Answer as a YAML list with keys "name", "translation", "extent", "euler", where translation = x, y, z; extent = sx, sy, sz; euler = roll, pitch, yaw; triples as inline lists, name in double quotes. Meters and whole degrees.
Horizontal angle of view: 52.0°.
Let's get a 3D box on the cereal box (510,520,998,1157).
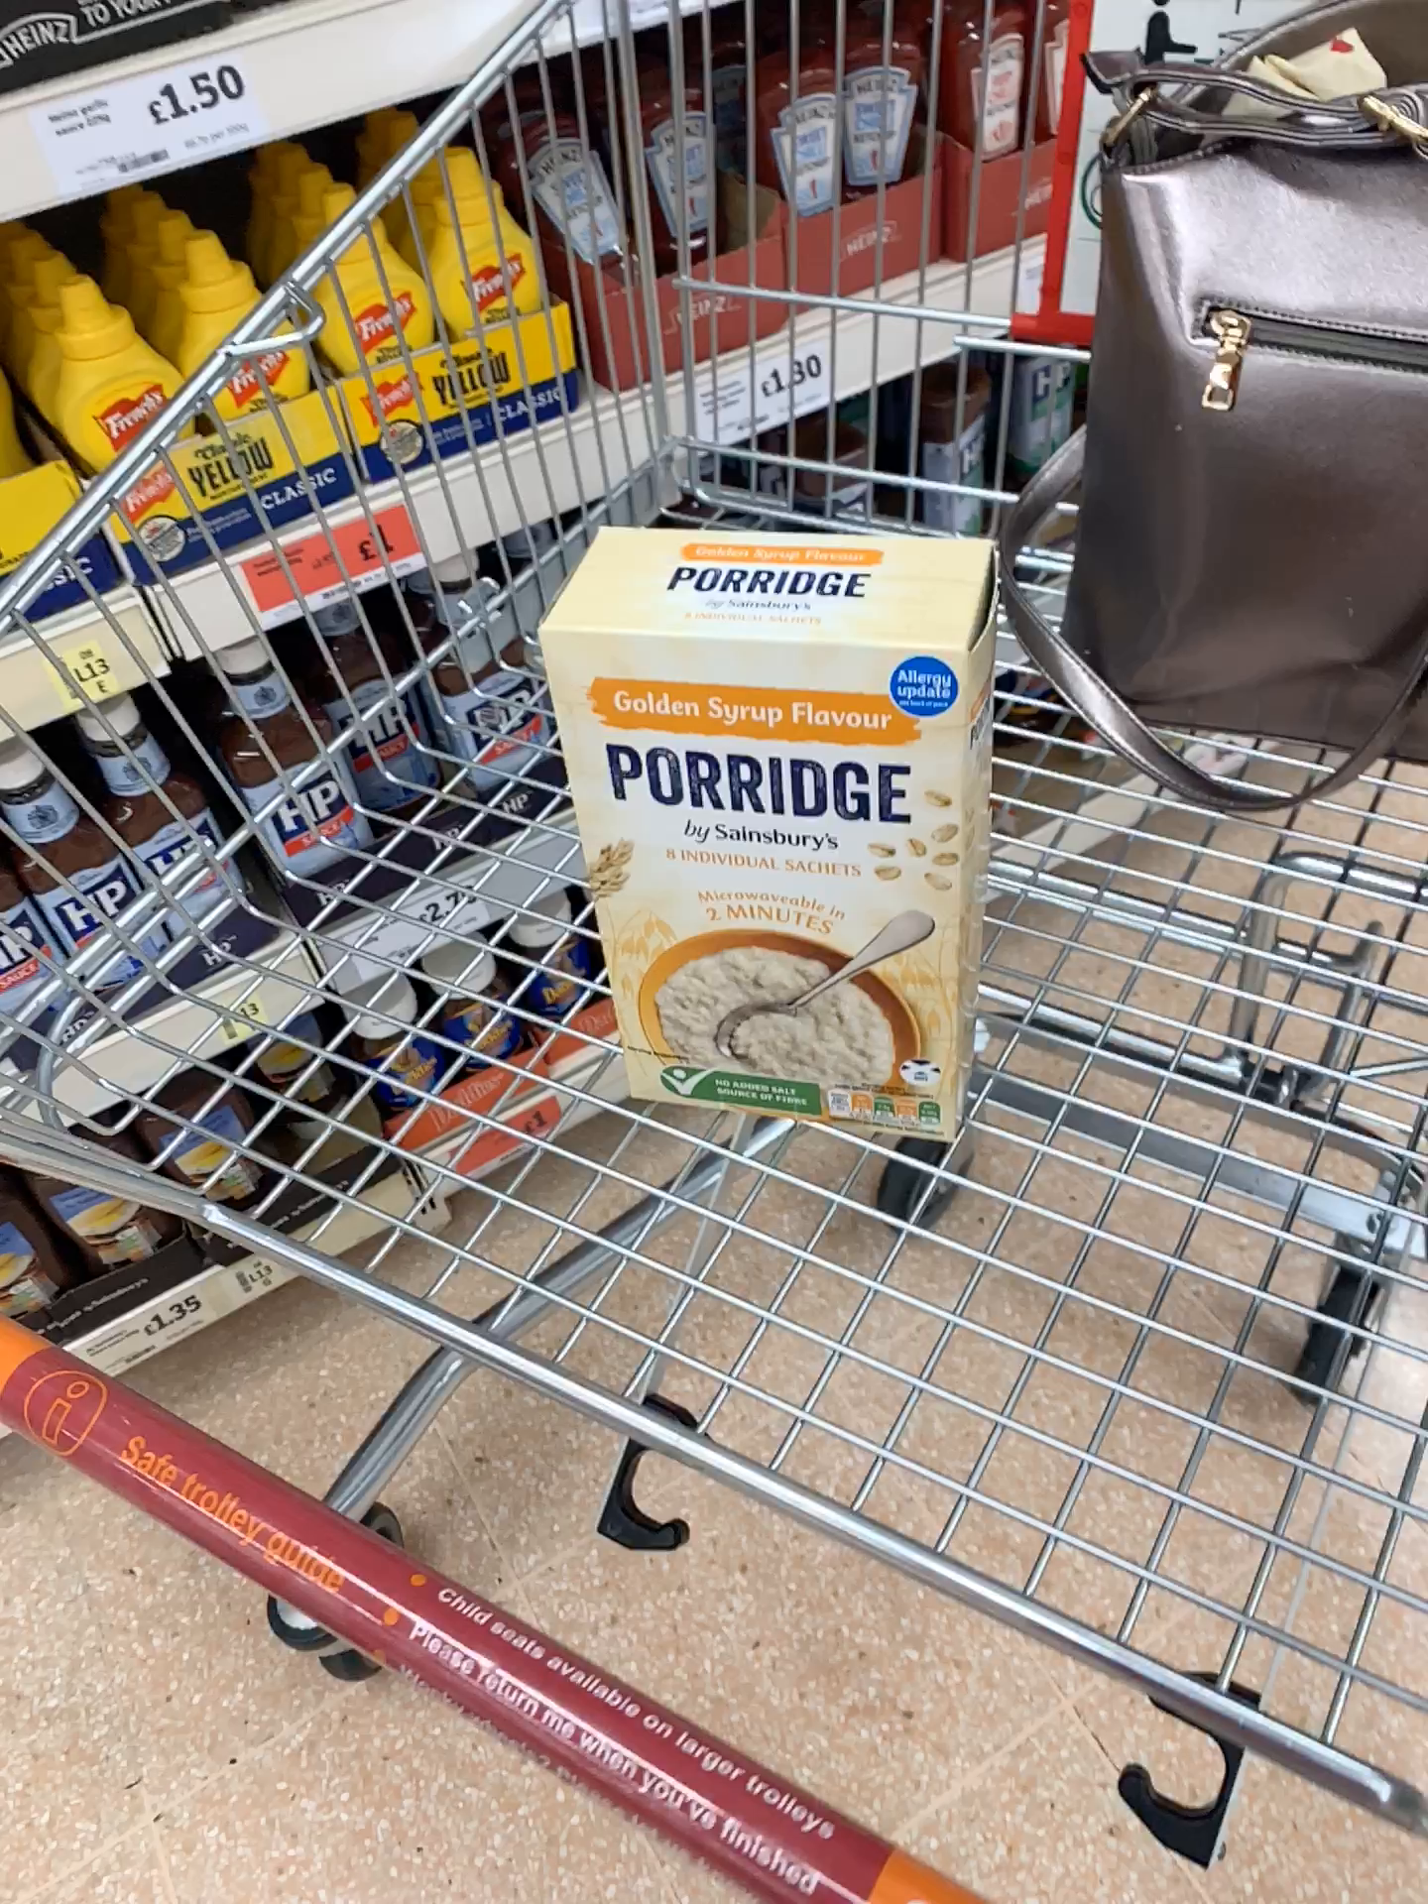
- name: "cereal box"
  translation: [0.023, -0.031, 0.497]
  extent: [0.130, 0.208, 0.071]
  euler: [6, 46, 14]
